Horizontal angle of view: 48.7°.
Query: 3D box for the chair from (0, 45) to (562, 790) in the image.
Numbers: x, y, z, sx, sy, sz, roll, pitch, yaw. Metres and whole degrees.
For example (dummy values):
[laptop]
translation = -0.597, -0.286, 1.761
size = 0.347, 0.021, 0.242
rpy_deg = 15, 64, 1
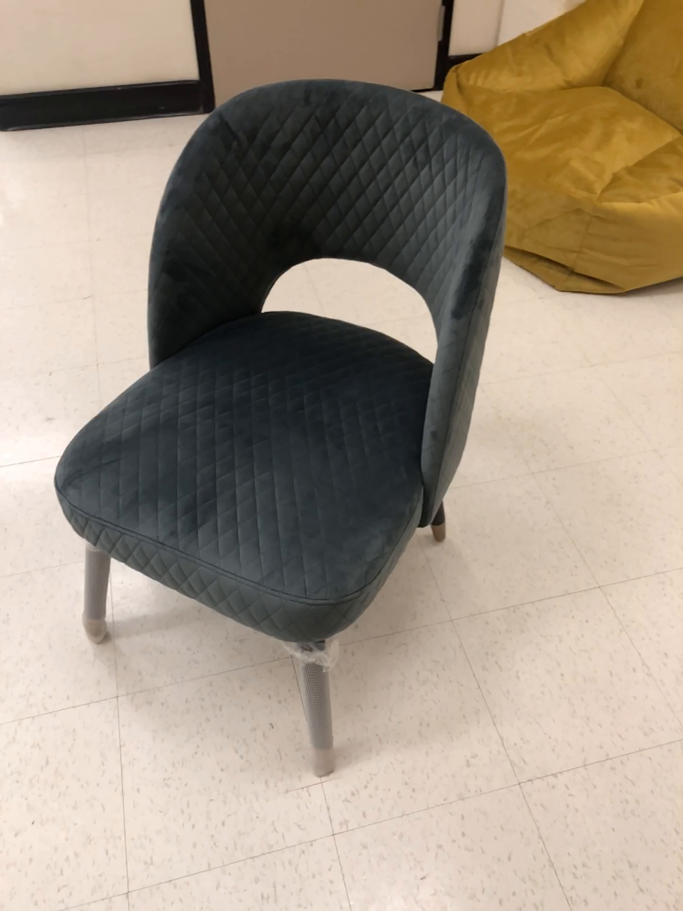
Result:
[chair]
translation = -0.102, -0.039, 1.169
size = 0.532, 0.857, 0.581
rpy_deg = 22, 50, 19
